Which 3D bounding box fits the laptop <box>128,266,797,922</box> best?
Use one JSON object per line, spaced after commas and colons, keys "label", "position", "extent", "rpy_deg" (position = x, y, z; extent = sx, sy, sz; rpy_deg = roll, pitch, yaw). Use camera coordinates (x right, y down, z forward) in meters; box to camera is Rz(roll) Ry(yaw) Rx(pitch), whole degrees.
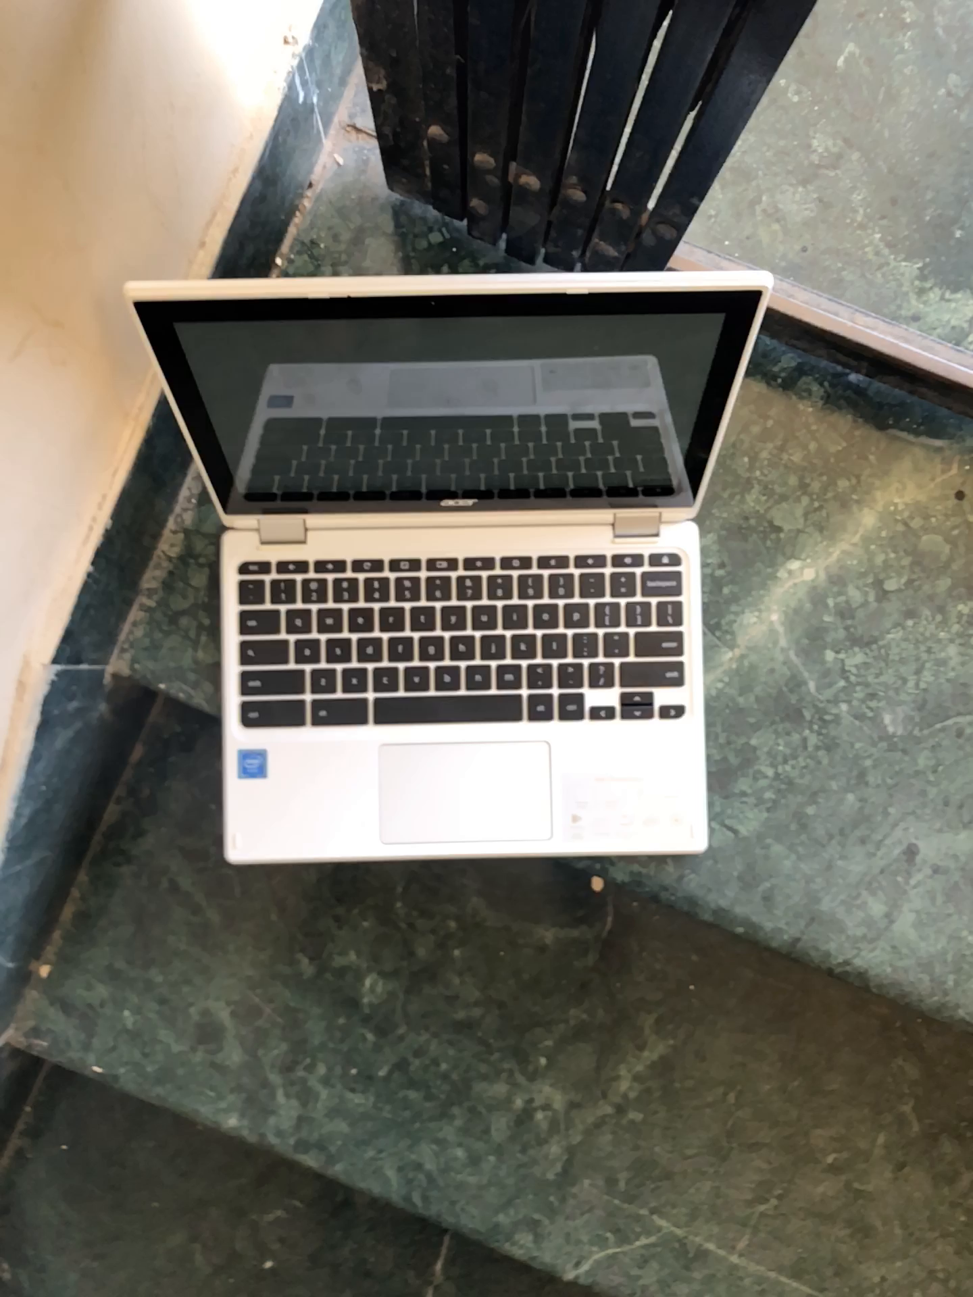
{"label": "laptop", "position": [-0.012, -0.019, 0.543], "extent": [0.278, 0.179, 0.271], "rpy_deg": [-1, 87, -1]}
